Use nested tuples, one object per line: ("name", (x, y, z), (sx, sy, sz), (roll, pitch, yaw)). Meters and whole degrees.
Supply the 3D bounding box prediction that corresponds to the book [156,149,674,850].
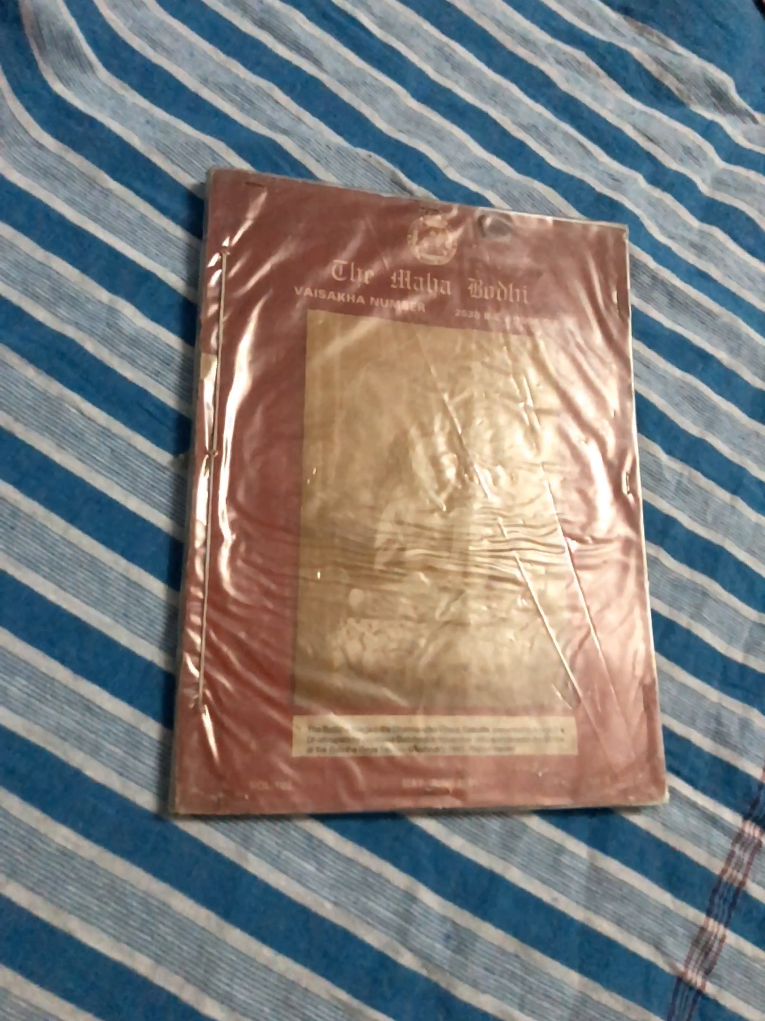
("book", (0.014, -0.010, 0.323), (0.180, 0.020, 0.250), (3, 74, -16))
